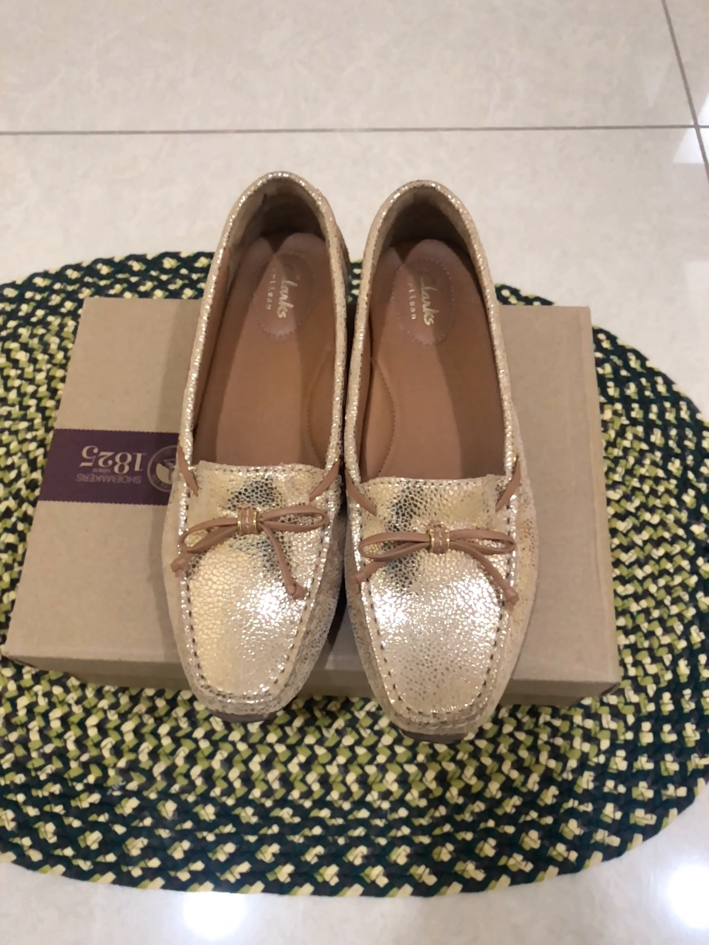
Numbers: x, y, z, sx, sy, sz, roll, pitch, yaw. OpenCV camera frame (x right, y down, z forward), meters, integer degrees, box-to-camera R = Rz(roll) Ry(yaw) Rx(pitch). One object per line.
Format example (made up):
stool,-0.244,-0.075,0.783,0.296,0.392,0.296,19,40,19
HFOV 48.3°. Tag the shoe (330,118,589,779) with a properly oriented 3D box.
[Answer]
shoe,0.041,-0.027,0.367,0.090,0.060,0.310,1,66,1

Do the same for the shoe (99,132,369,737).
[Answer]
shoe,-0.042,-0.029,0.364,0.090,0.060,0.280,1,66,1
